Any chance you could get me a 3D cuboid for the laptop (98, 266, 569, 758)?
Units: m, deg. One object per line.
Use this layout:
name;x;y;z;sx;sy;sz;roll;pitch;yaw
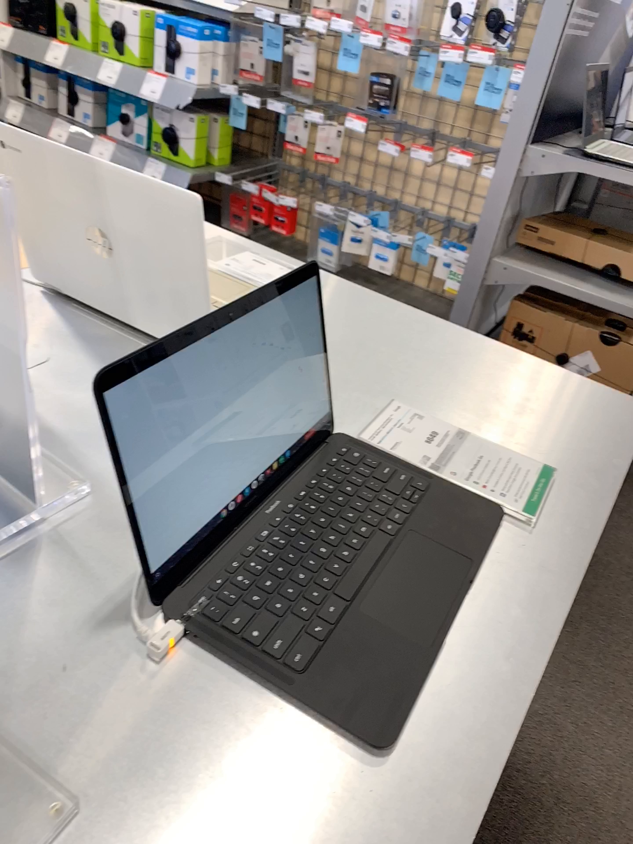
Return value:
laptop;0.025;0.037;0.540;0.253;0.180;0.295;25;37;18
